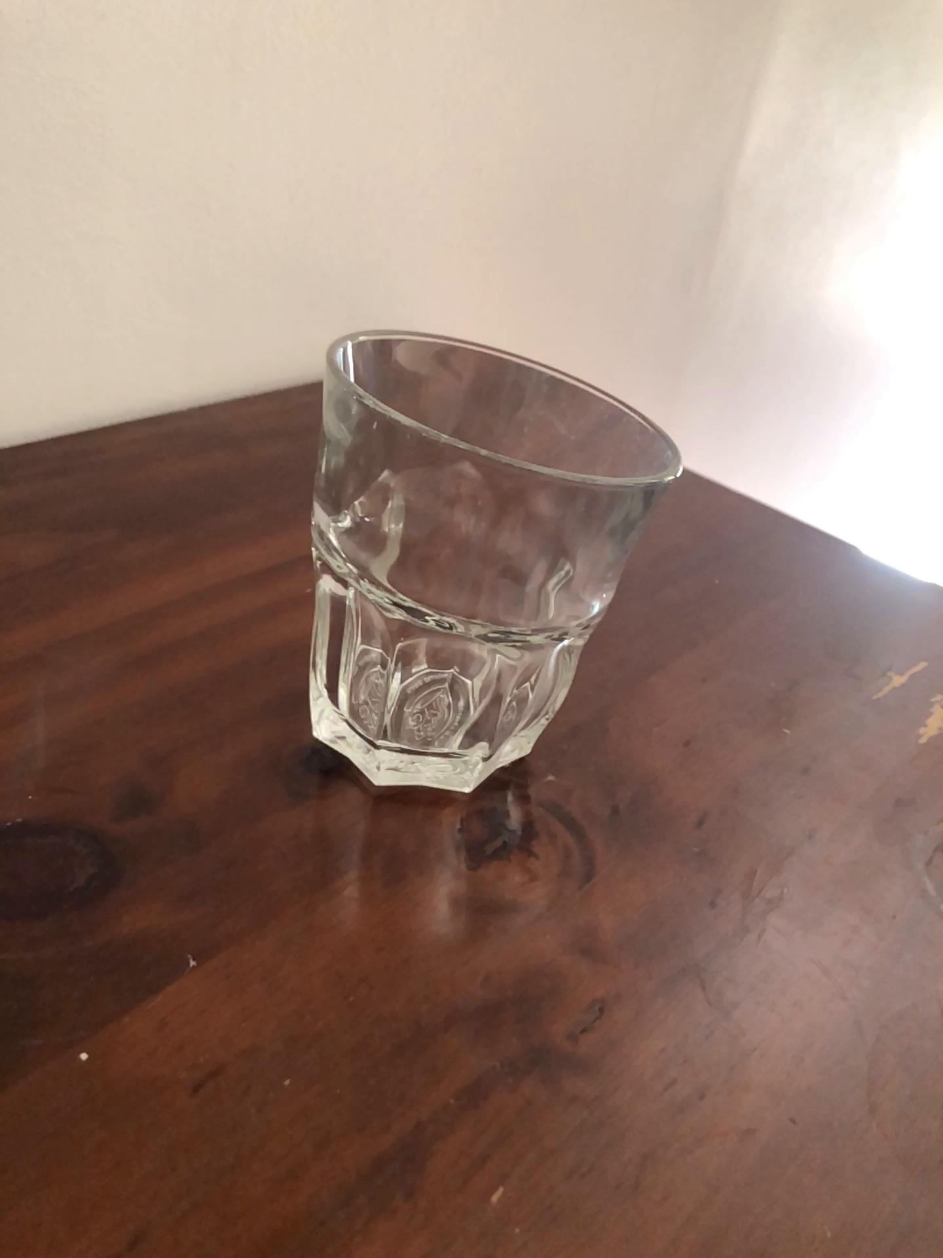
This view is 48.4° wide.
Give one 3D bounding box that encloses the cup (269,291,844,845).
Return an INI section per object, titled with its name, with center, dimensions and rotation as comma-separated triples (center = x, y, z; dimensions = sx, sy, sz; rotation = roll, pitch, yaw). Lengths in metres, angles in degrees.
[cup]
center = 0.009, -0.019, 0.260
dimensions = 0.101, 0.095, 0.090
rotation = -2, 34, -19
